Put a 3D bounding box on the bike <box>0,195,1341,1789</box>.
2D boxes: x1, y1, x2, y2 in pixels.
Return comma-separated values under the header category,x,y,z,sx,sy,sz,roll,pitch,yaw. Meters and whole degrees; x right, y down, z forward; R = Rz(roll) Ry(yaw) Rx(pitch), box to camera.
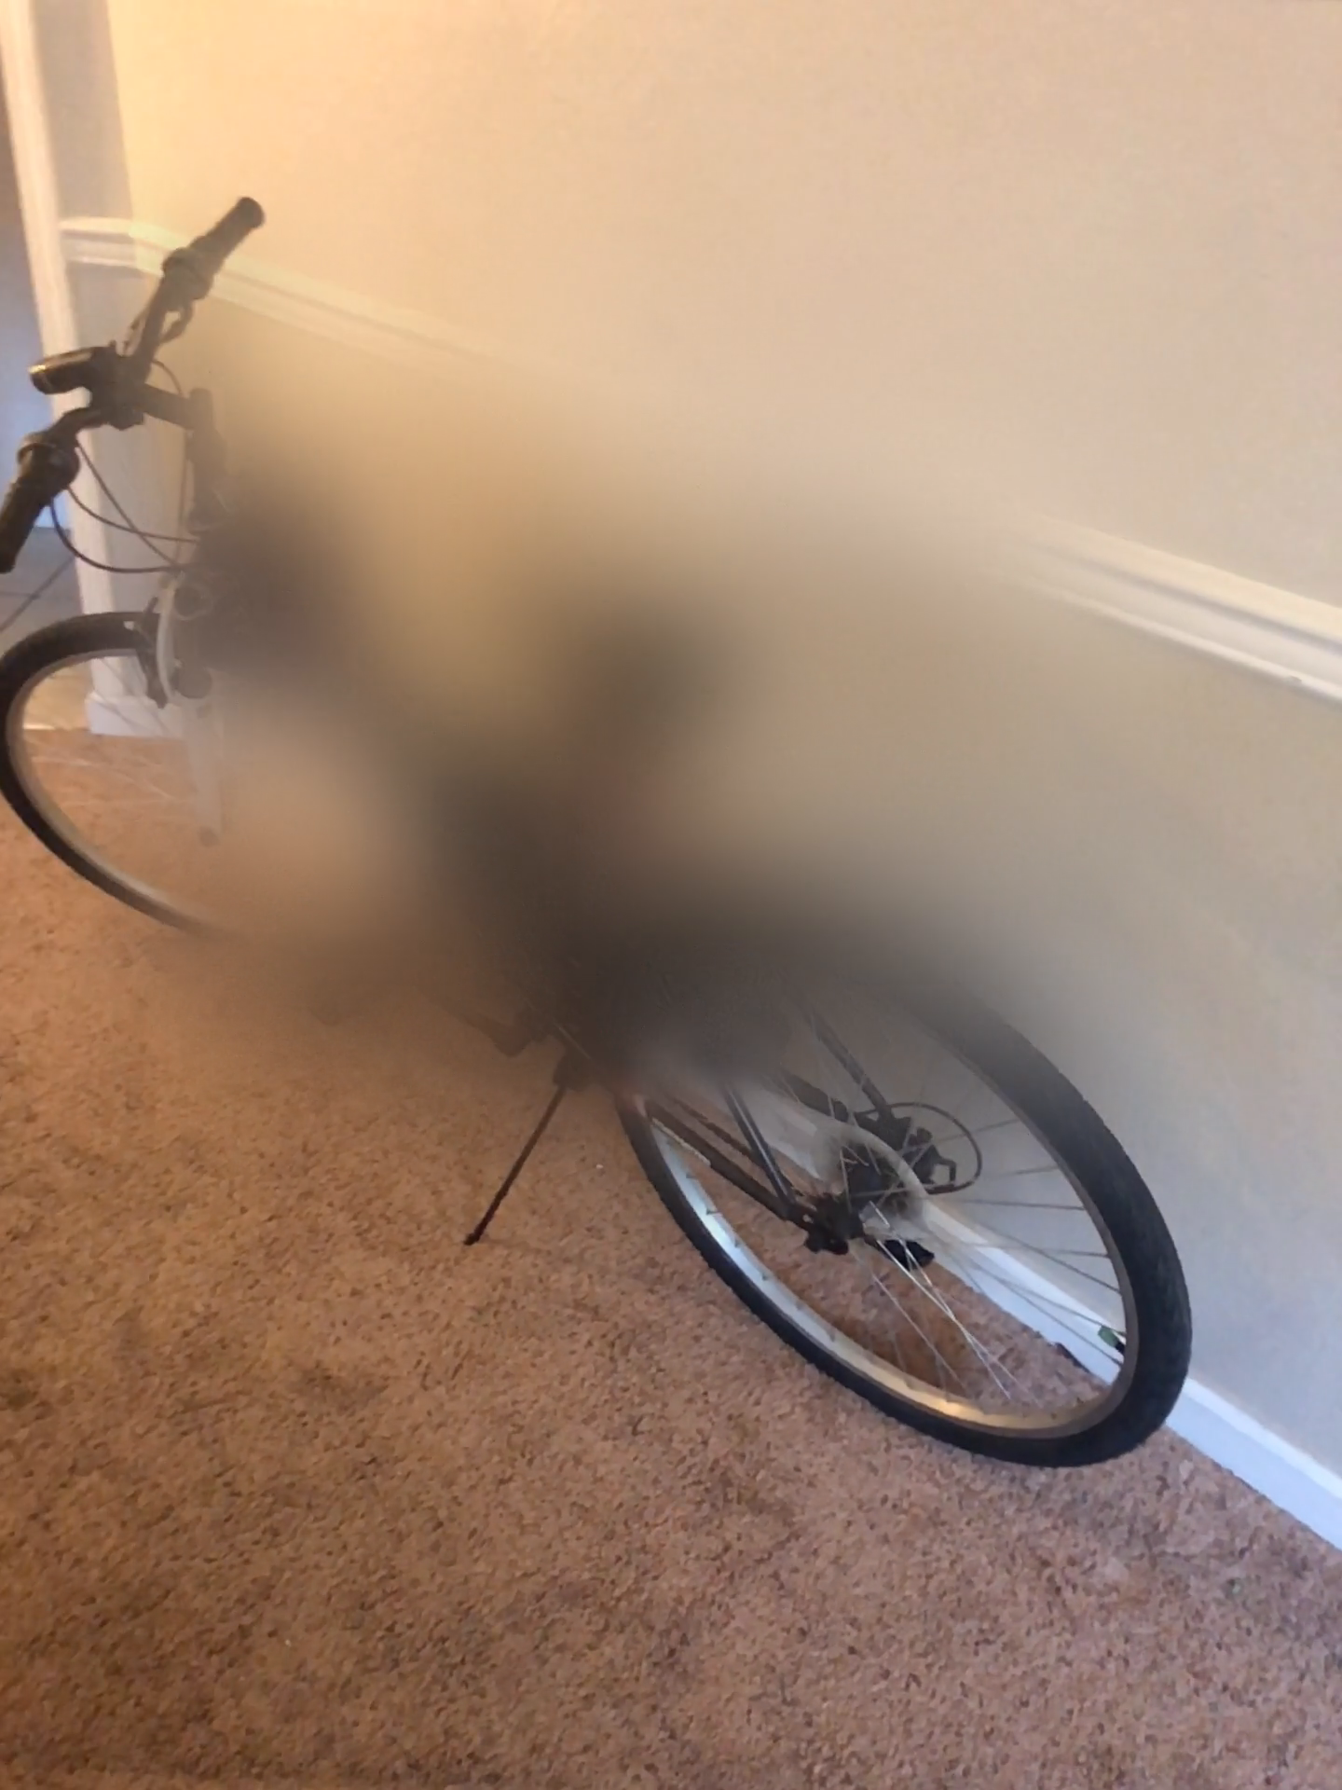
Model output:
category,x,y,z,sx,sy,sz,roll,pitch,yaw
bike,-0.303,-0.011,1.679,1.867,1.177,0.681,24,38,28
